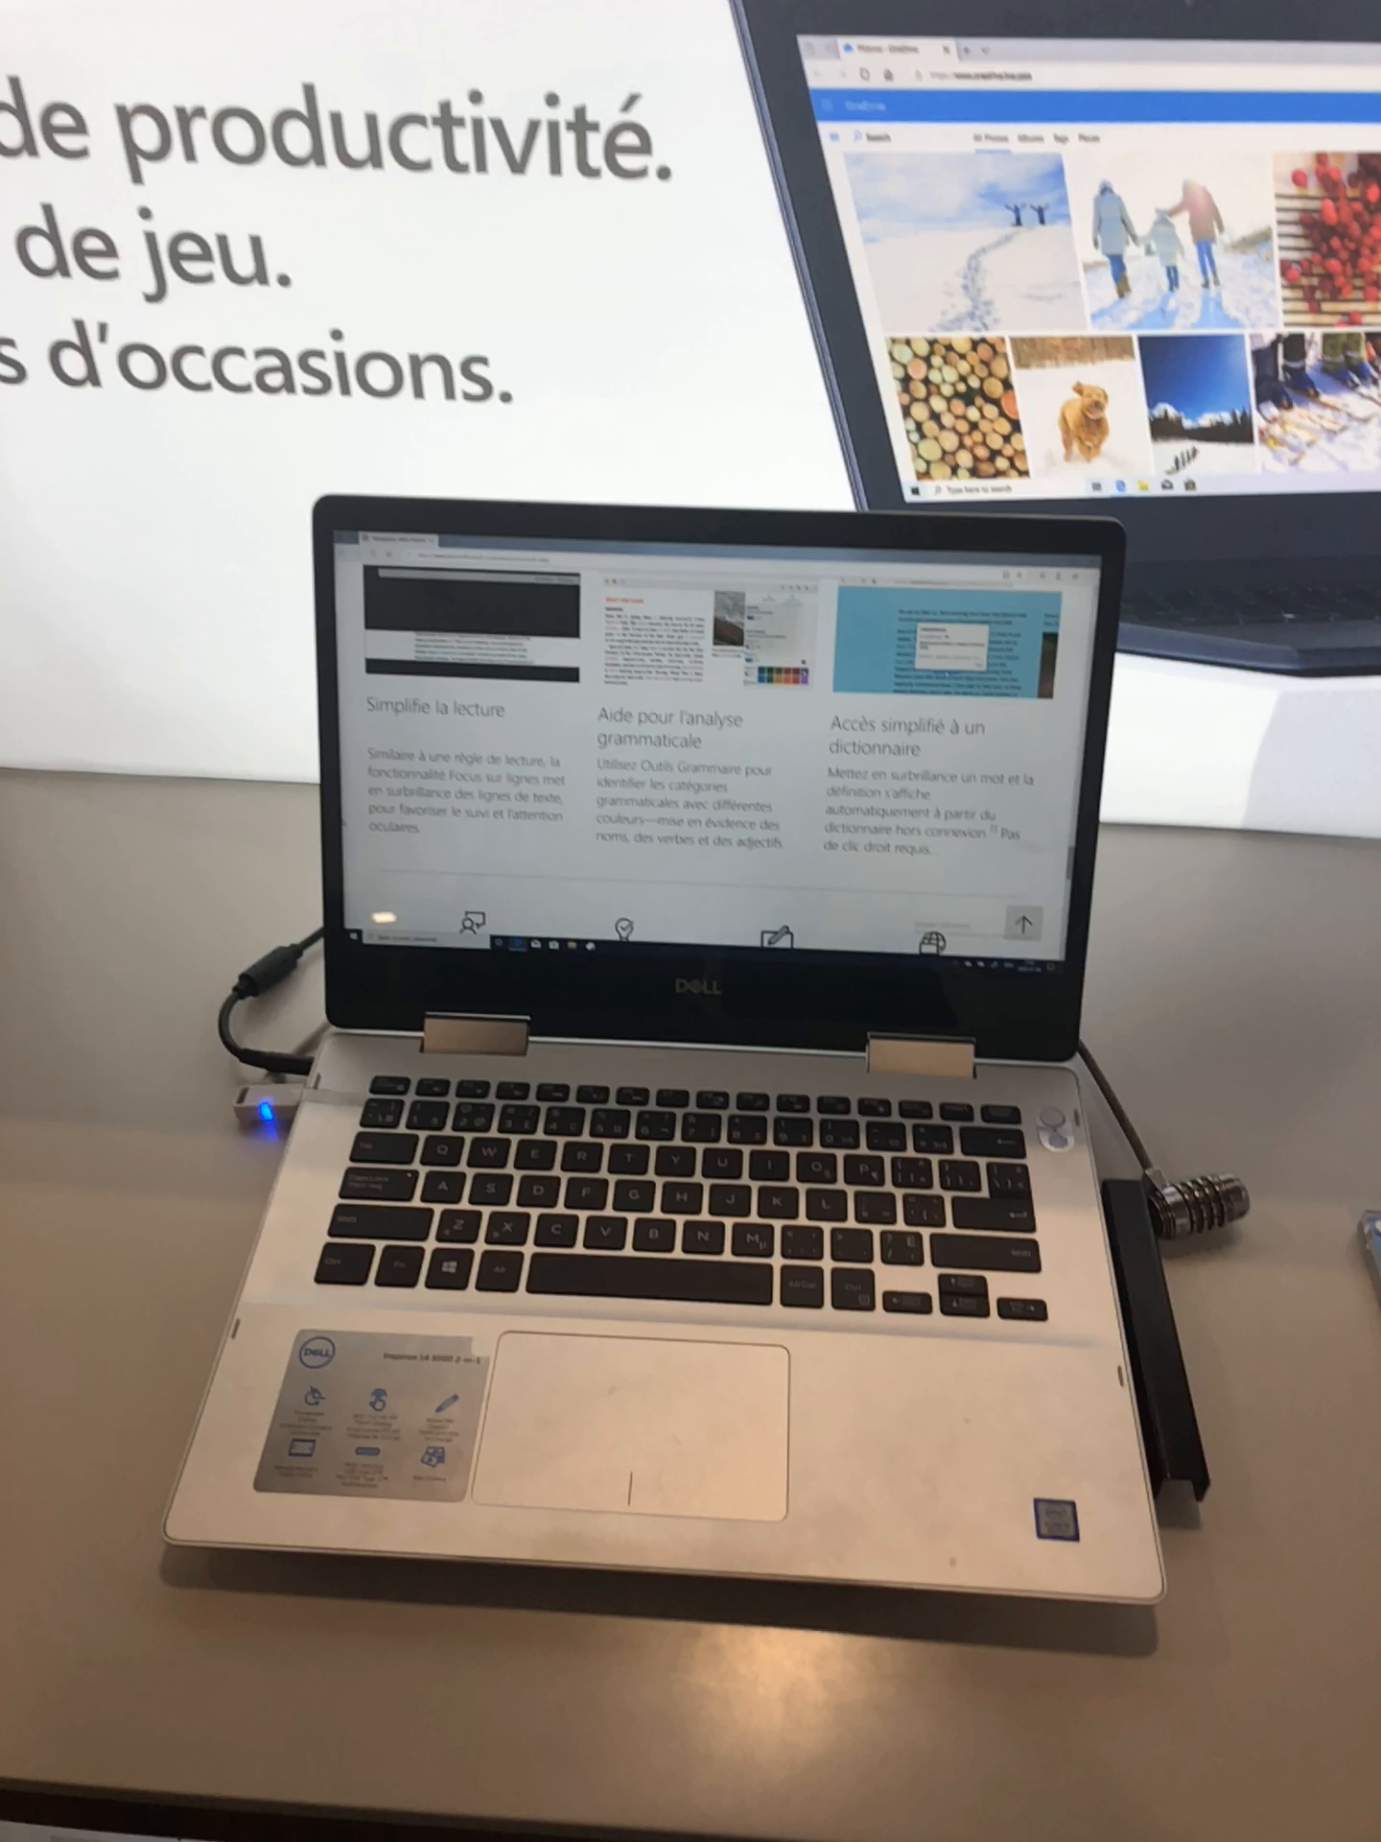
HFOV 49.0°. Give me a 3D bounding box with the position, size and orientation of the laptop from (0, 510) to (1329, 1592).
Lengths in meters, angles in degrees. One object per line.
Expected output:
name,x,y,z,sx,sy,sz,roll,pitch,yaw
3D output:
laptop,-0.001,0.022,0.549,0.316,0.193,0.338,2,42,3
